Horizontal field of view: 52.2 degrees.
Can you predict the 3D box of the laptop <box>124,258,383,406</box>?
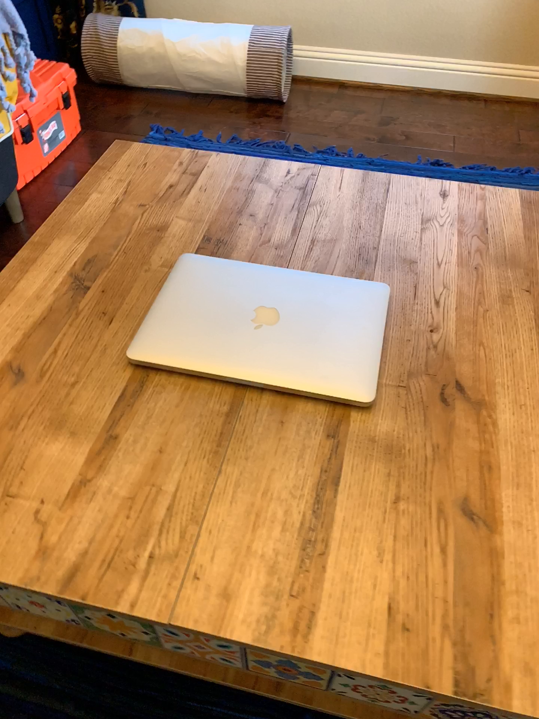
[{"bbox_3d":[-0.010,-0.048,0.725,0.298,0.002,0.208,10,50,9],"label":"laptop"}]
